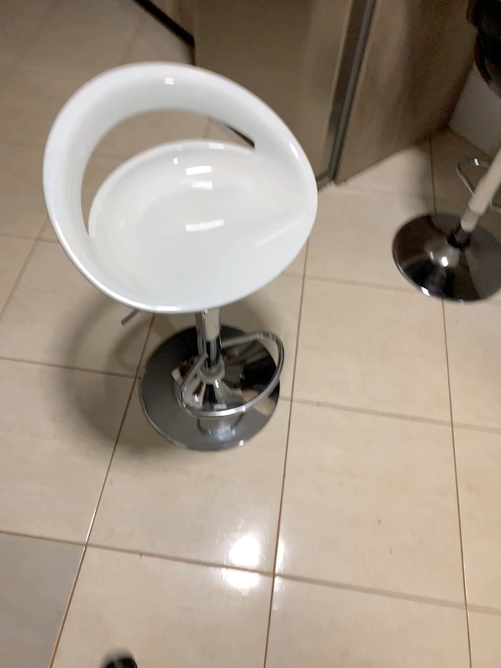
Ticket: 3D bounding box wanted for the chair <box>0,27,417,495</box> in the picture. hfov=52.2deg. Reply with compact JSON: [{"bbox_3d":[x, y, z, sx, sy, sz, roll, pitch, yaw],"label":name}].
[{"bbox_3d":[-0.097,-0.089,1.059,0.471,0.734,0.452,-30,64,-20],"label":"chair"}]
